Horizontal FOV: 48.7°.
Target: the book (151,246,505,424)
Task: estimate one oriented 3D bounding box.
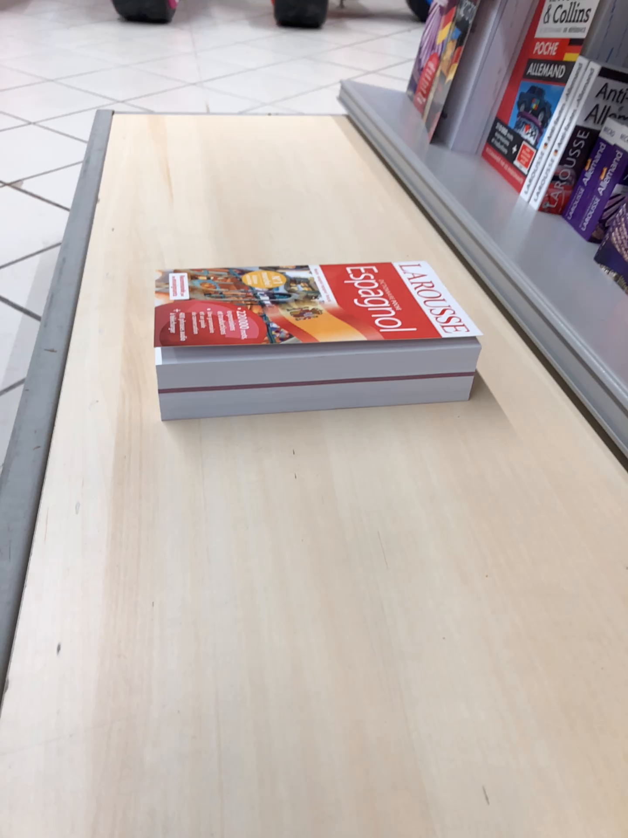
[{"bbox_3d":[0.000,-0.056,0.409,0.182,0.044,0.118,-3,39,-10],"label":"book"}]
